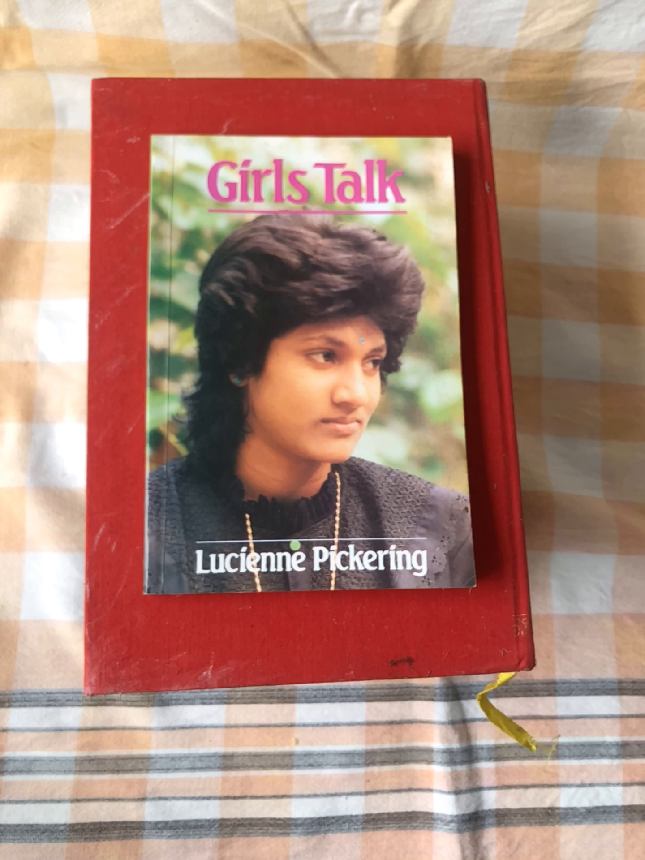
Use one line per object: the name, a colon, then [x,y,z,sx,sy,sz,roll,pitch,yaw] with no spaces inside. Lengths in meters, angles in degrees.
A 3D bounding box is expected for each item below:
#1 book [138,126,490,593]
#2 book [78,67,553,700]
book: [-0.006,-0.031,0.292,0.130,0.025,0.182,-1,82,-3]
book: [-0.008,-0.027,0.300,0.174,0.031,0.249,-2,81,-3]
